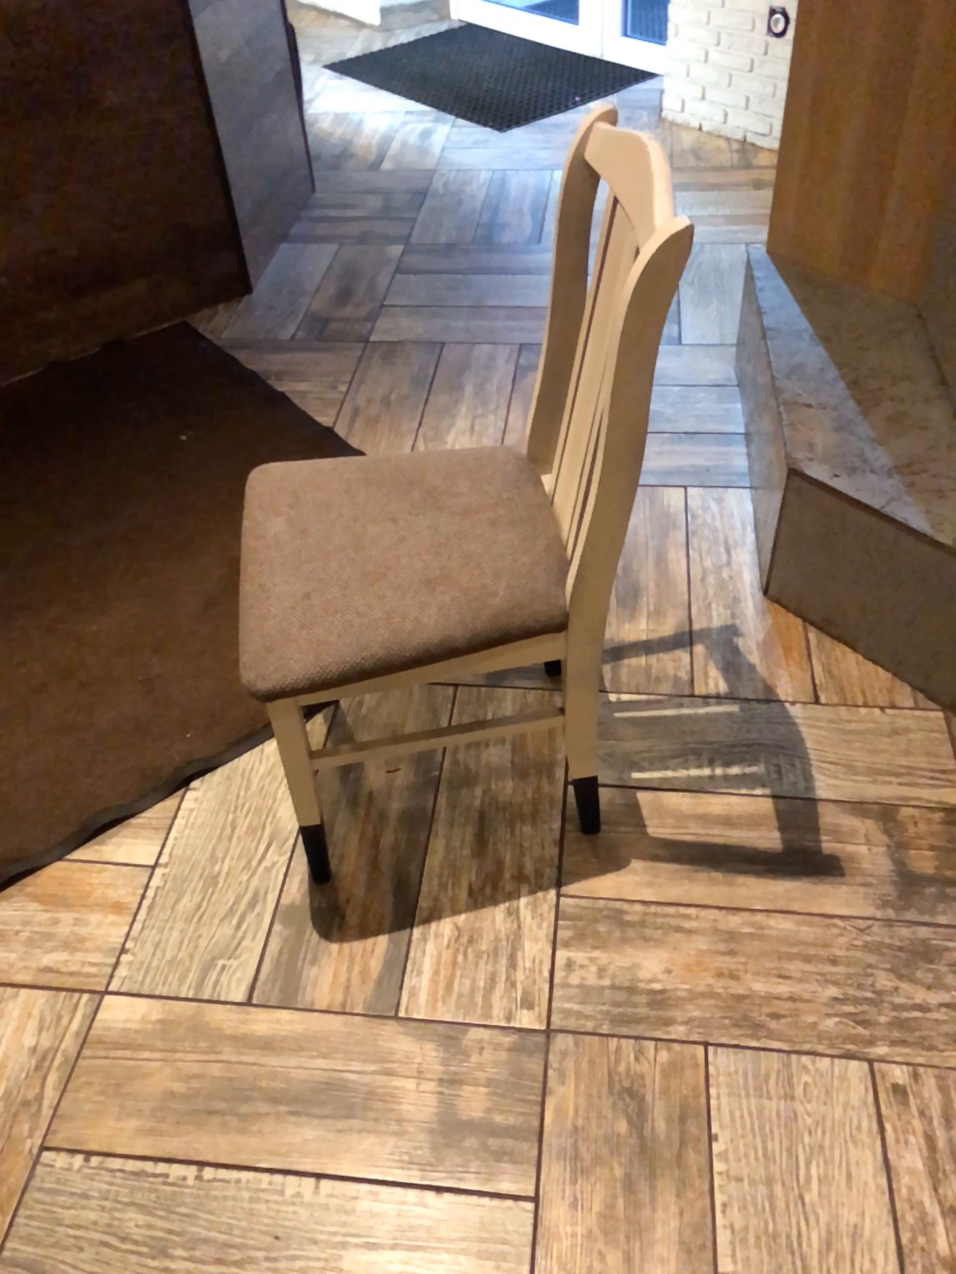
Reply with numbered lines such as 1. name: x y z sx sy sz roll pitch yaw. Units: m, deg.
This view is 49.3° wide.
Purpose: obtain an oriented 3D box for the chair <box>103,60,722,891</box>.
1. chair: -0.069 -0.163 1.357 0.519 0.916 0.481 -6 43 -4
